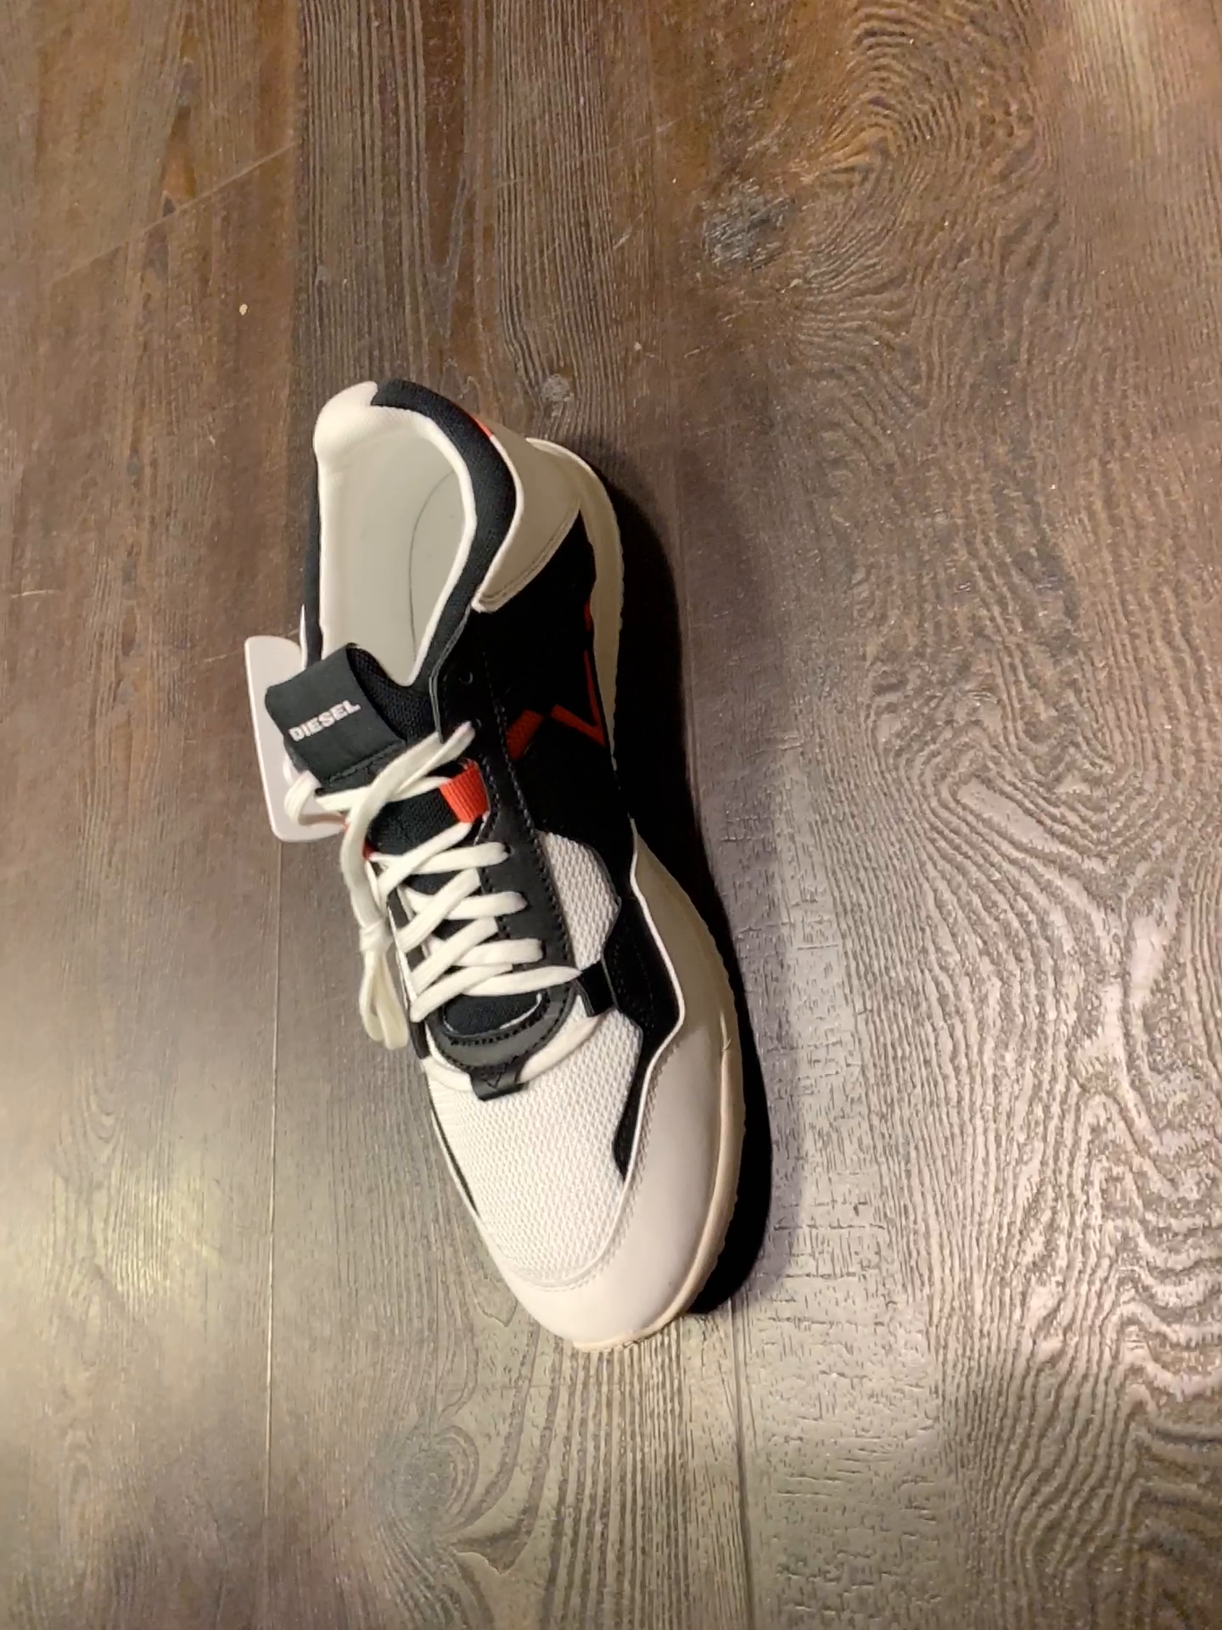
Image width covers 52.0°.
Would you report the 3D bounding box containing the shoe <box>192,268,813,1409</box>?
[{"bbox_3d":[-0.041,0.006,0.390,0.110,0.109,0.301,-20,69,27],"label":"shoe"}]
